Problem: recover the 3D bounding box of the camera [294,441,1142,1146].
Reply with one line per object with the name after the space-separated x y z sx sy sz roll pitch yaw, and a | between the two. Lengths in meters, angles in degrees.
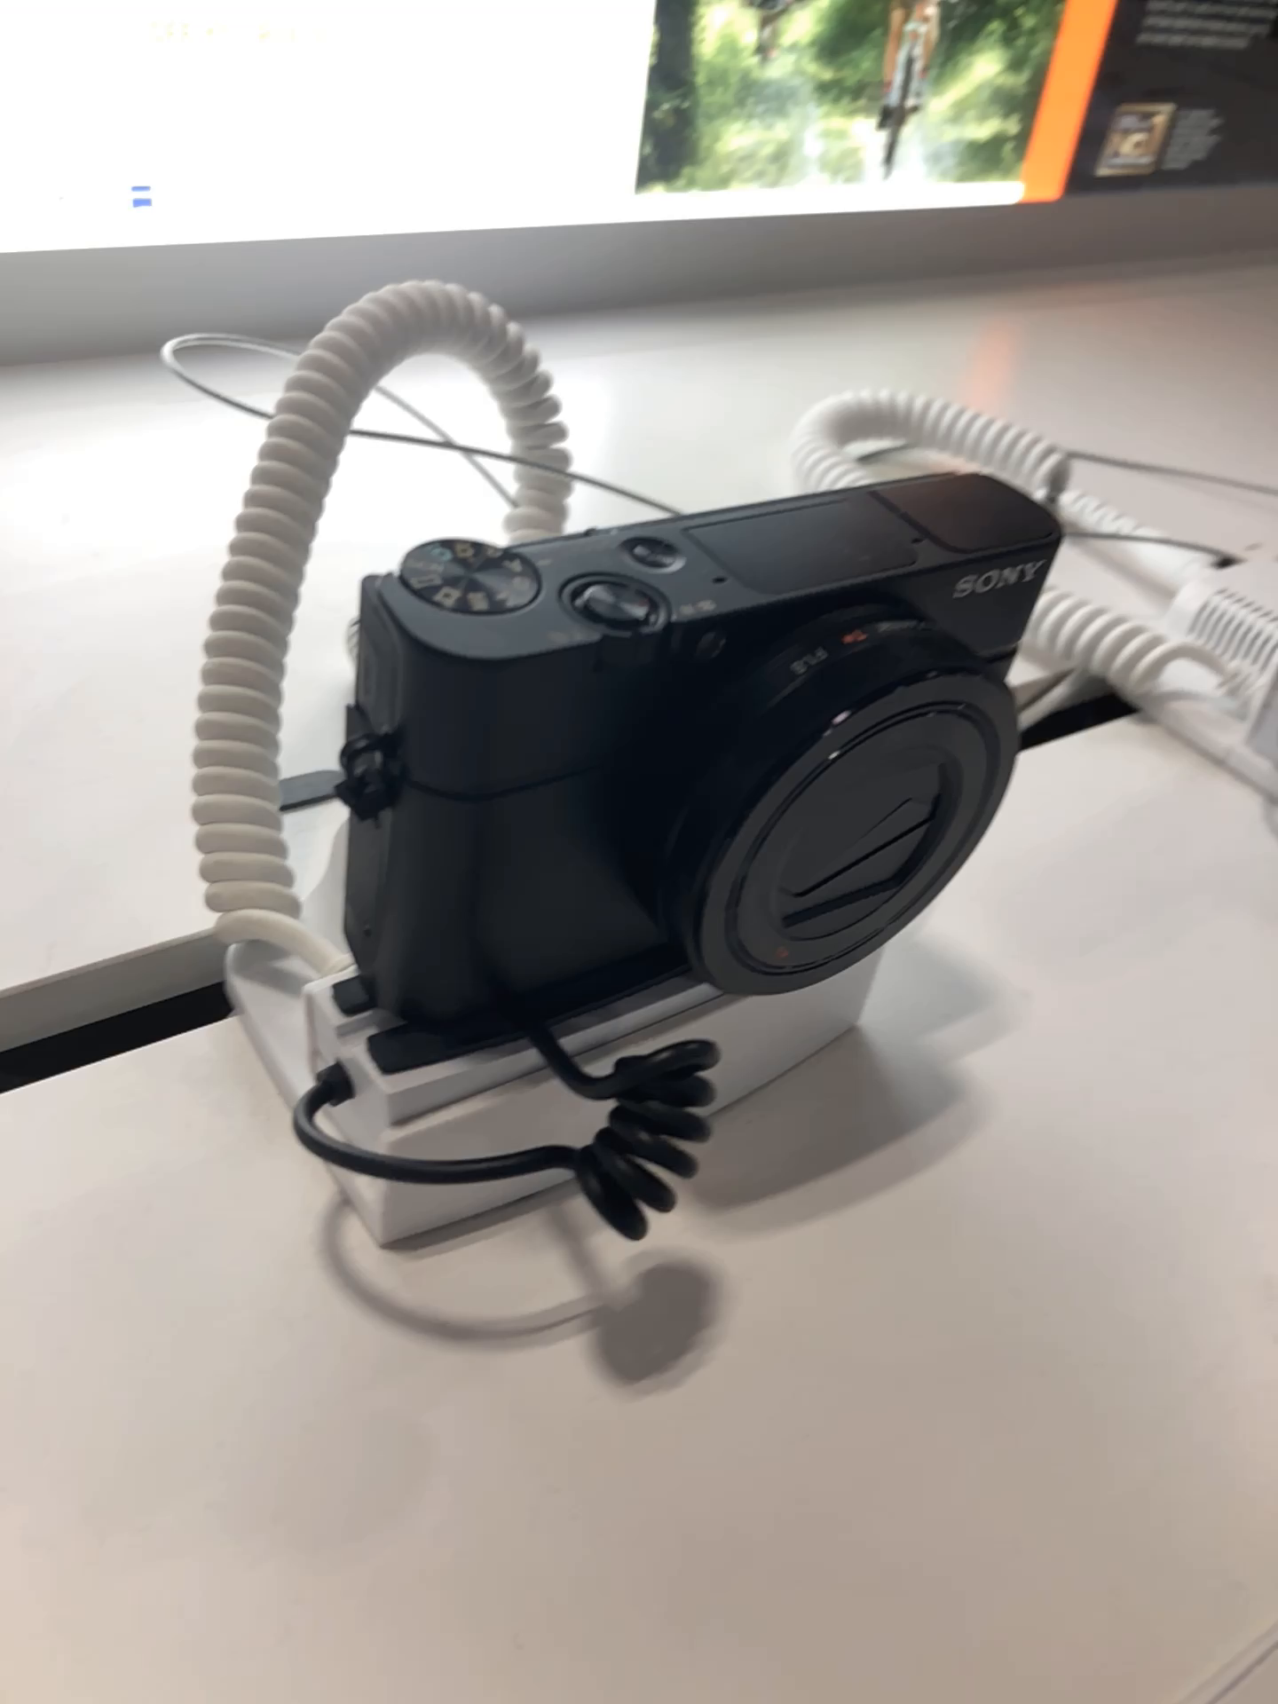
0.011 -0.012 0.198 0.110 0.070 0.030 -17 44 -30 | camera
